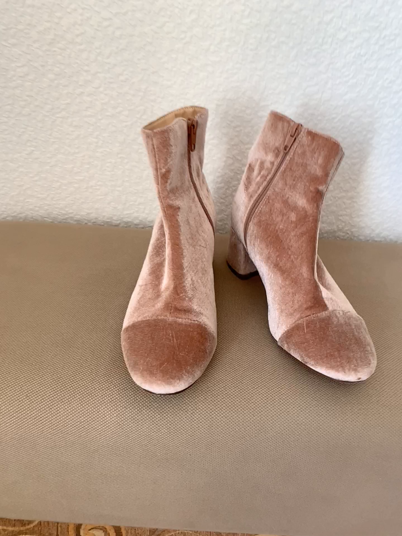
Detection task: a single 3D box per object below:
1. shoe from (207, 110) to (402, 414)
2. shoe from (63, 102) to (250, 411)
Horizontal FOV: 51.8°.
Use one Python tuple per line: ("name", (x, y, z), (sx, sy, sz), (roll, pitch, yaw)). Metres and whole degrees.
("shoe", (0.099, -0.034, 0.402), (0.100, 0.169, 0.271), (-6, 34, -15))
("shoe", (-0.021, -0.030, 0.362), (0.100, 0.169, 0.231), (5, 32, 1))
